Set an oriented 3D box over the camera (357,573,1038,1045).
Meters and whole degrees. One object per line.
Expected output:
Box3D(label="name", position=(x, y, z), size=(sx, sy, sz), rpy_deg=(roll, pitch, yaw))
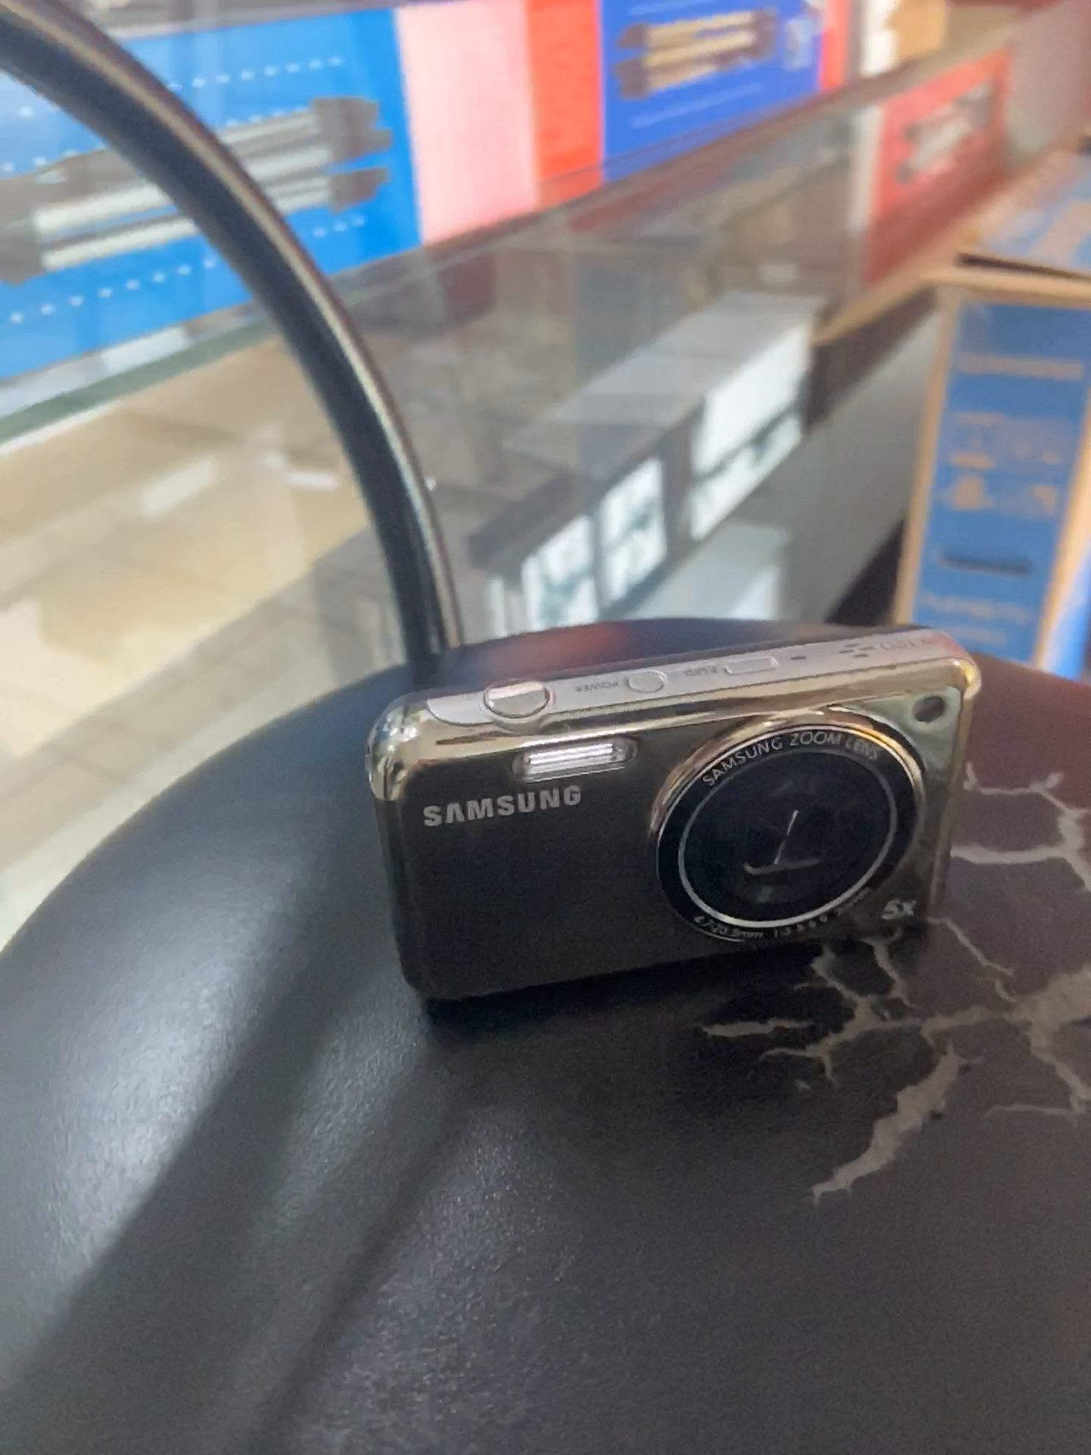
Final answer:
Box3D(label="camera", position=(0.023, 0.014, 0.194), size=(0.100, 0.060, 0.030), rpy_deg=(-8, 35, -6))
